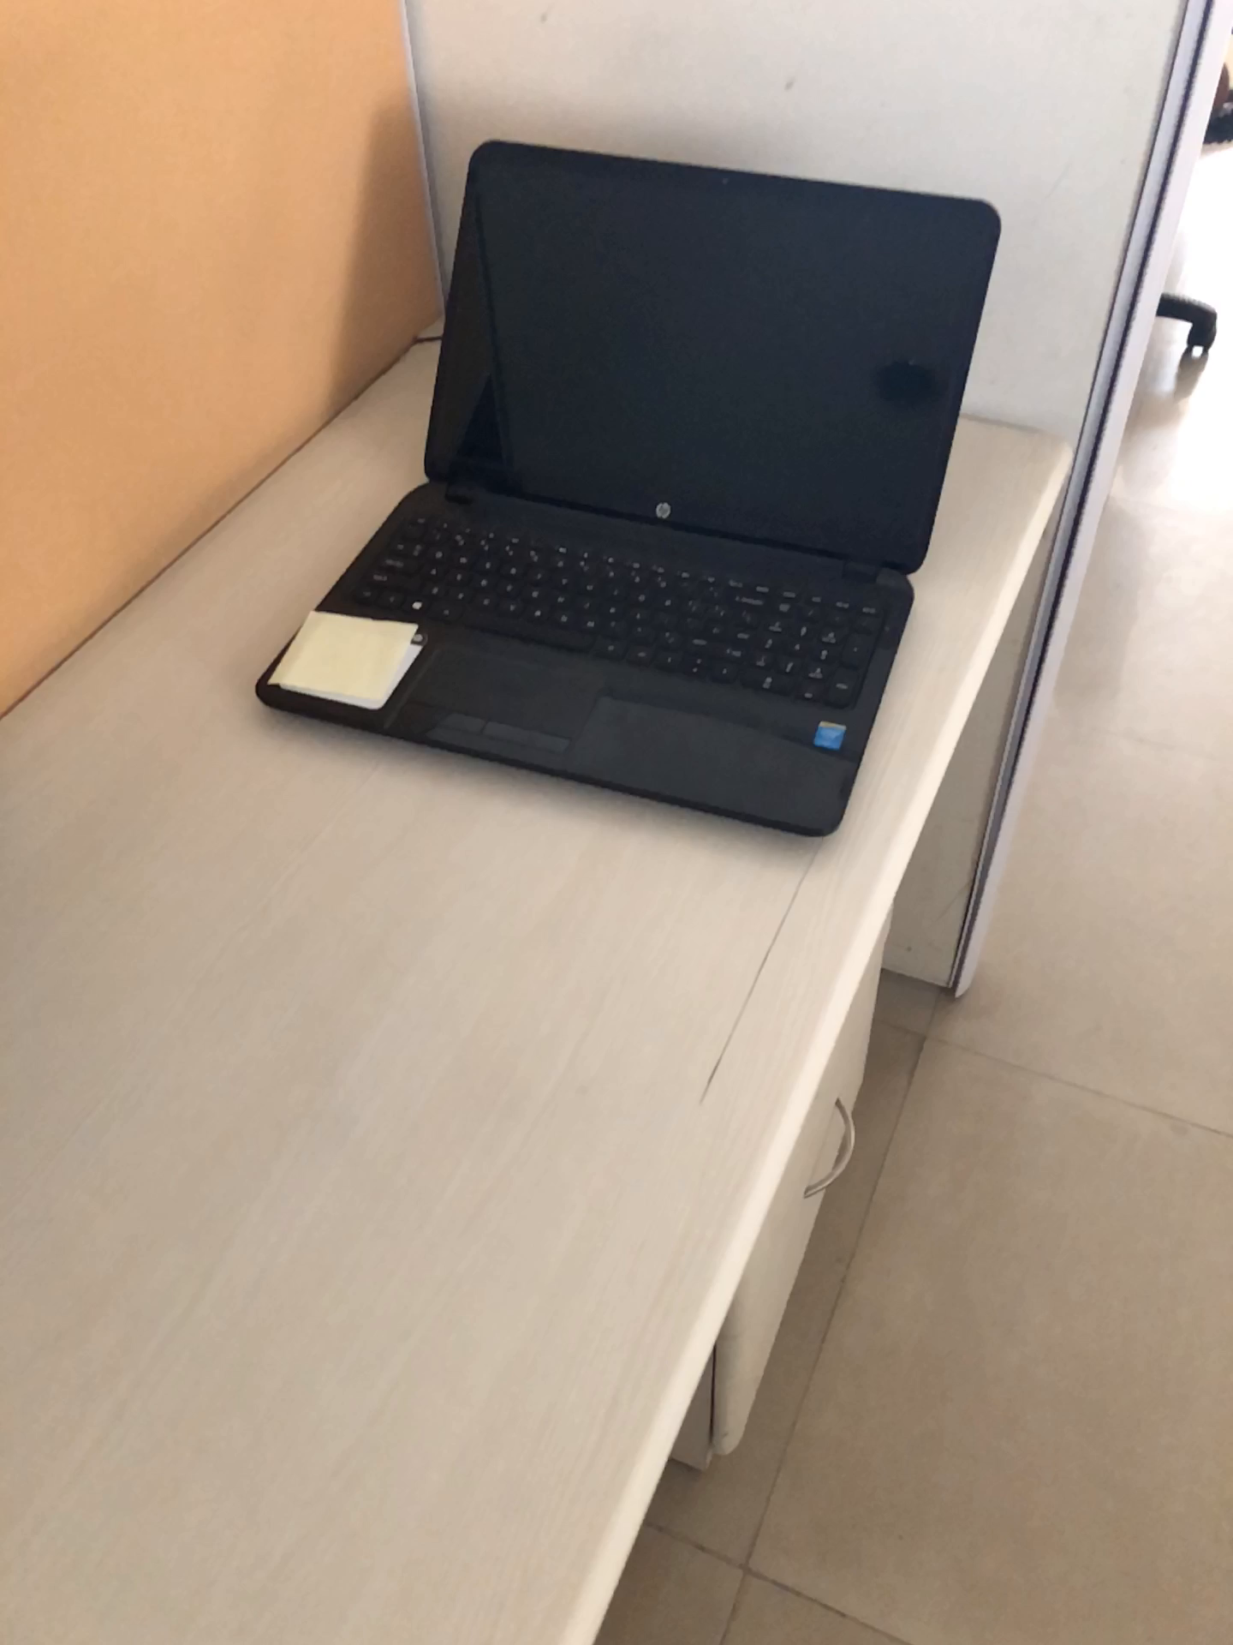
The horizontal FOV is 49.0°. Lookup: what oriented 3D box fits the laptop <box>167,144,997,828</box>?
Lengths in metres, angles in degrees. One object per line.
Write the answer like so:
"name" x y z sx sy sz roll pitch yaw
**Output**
"laptop" 0.010 -0.253 0.904 0.391 0.204 0.419 13 48 14
